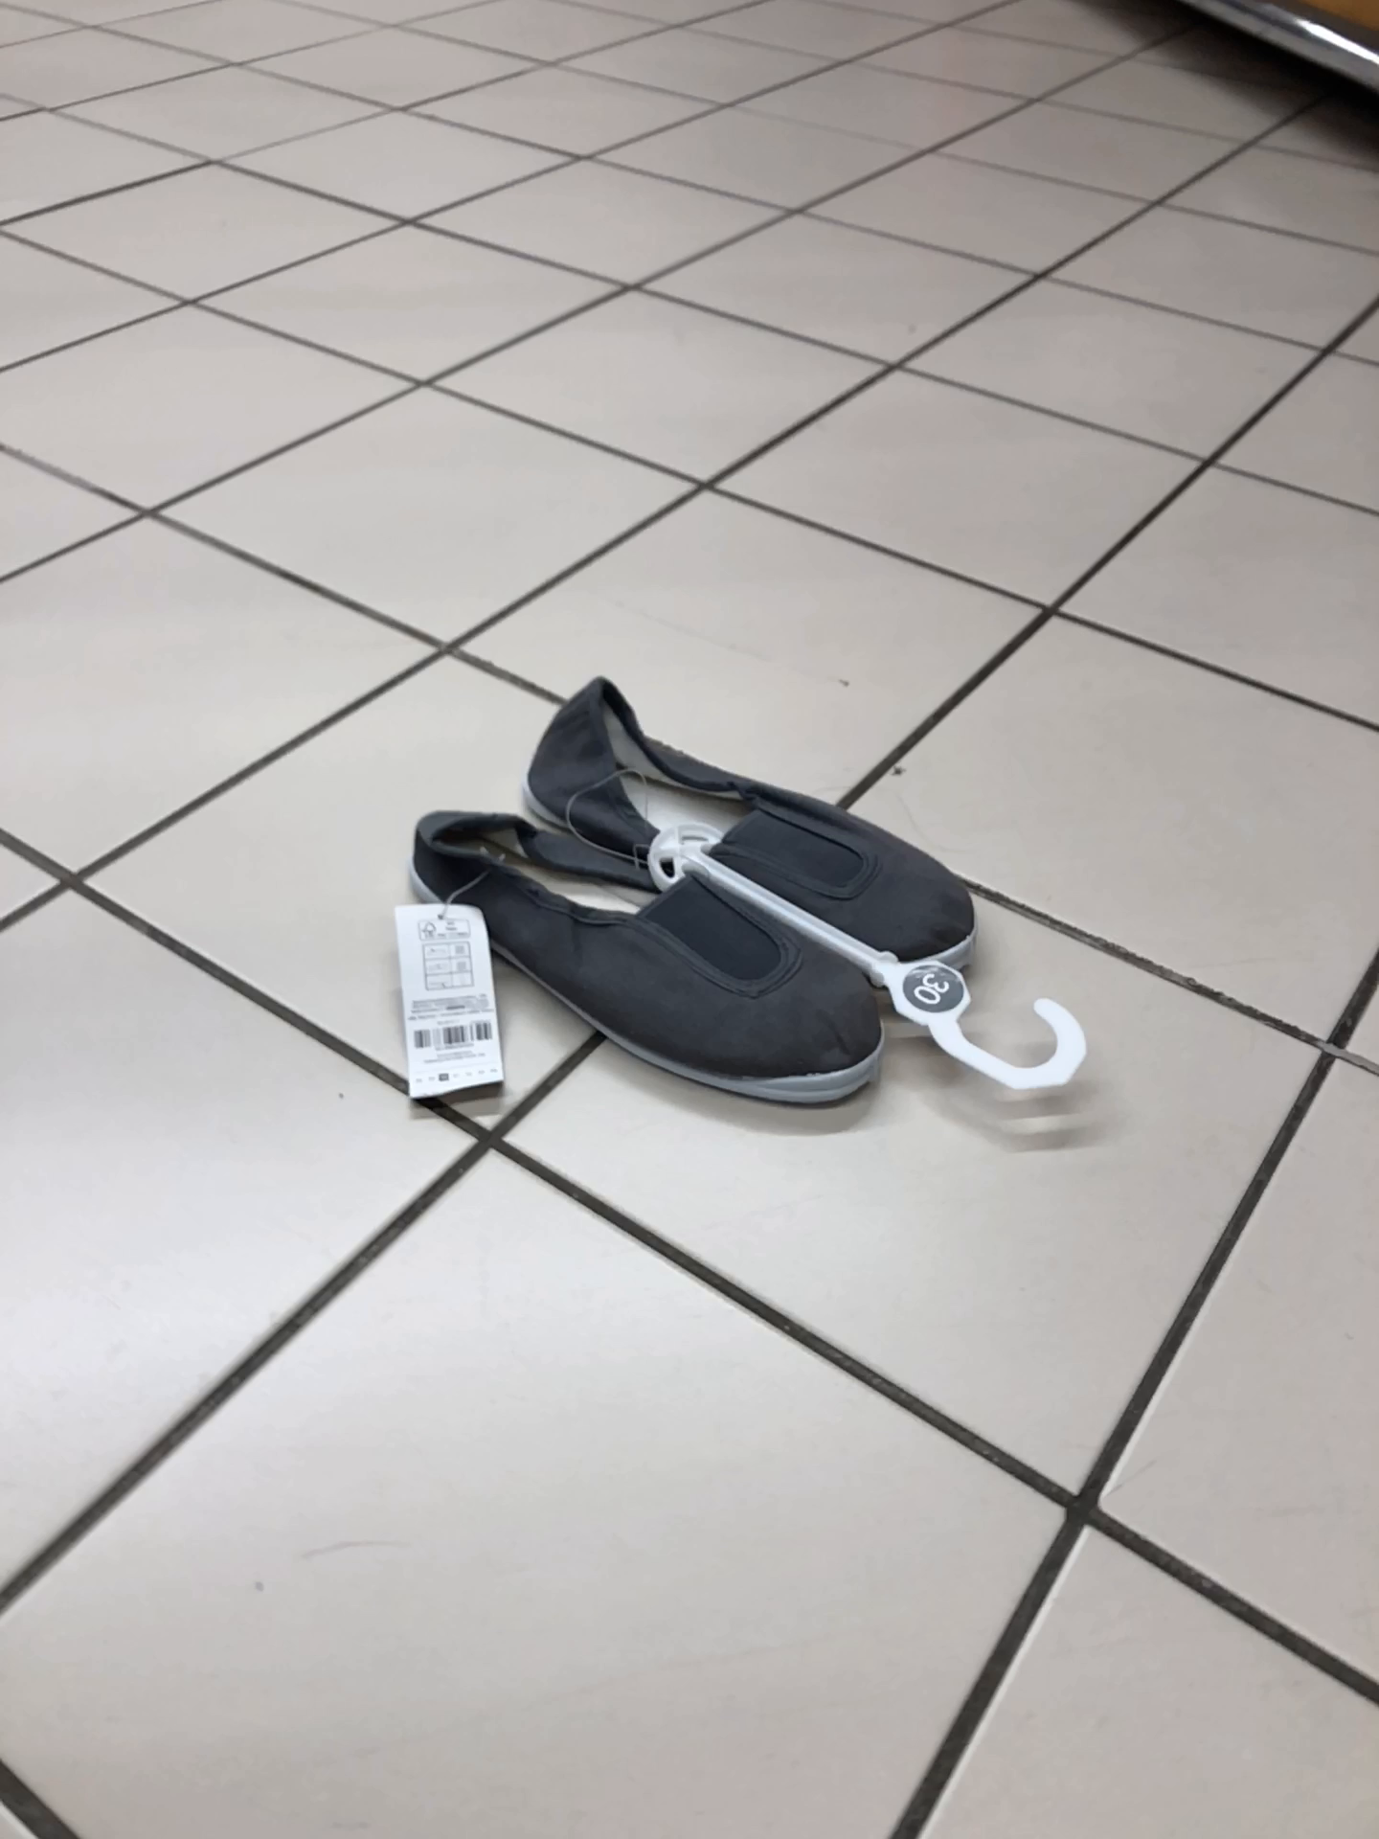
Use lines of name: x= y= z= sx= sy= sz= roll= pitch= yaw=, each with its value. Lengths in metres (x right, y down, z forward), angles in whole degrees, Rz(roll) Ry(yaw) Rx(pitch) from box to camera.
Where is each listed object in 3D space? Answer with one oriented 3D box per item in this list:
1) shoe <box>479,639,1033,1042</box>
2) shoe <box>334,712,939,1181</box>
shoe: x=0.019 y=-0.034 z=0.543 sx=0.185 sy=0.046 sz=0.071 roll=27 pitch=47 yaw=25
shoe: x=-0.021 y=0.001 z=0.501 sx=0.185 sy=0.046 sz=0.078 roll=28 pitch=48 yaw=25
